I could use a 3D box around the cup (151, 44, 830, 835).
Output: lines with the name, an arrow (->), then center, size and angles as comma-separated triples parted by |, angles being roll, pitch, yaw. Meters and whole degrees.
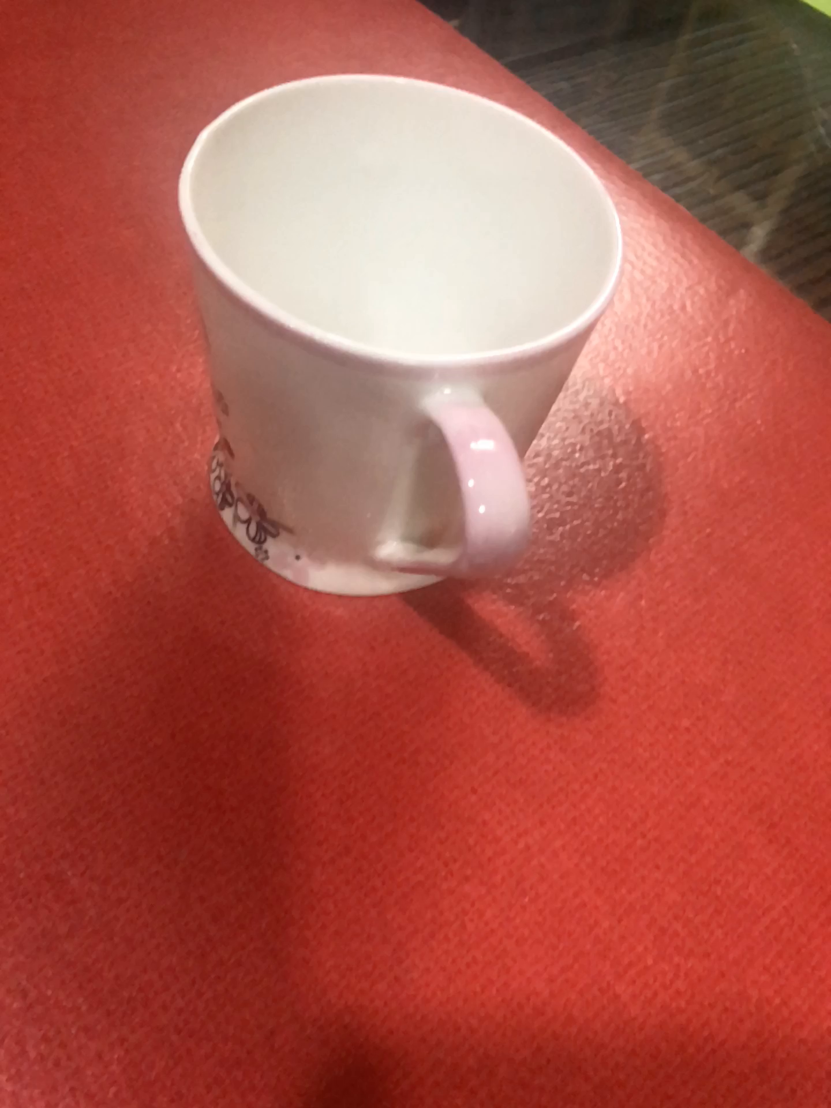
cup -> 0.005, -0.022, 0.168 | 0.070, 0.080, 0.100 | -17, 60, -21
